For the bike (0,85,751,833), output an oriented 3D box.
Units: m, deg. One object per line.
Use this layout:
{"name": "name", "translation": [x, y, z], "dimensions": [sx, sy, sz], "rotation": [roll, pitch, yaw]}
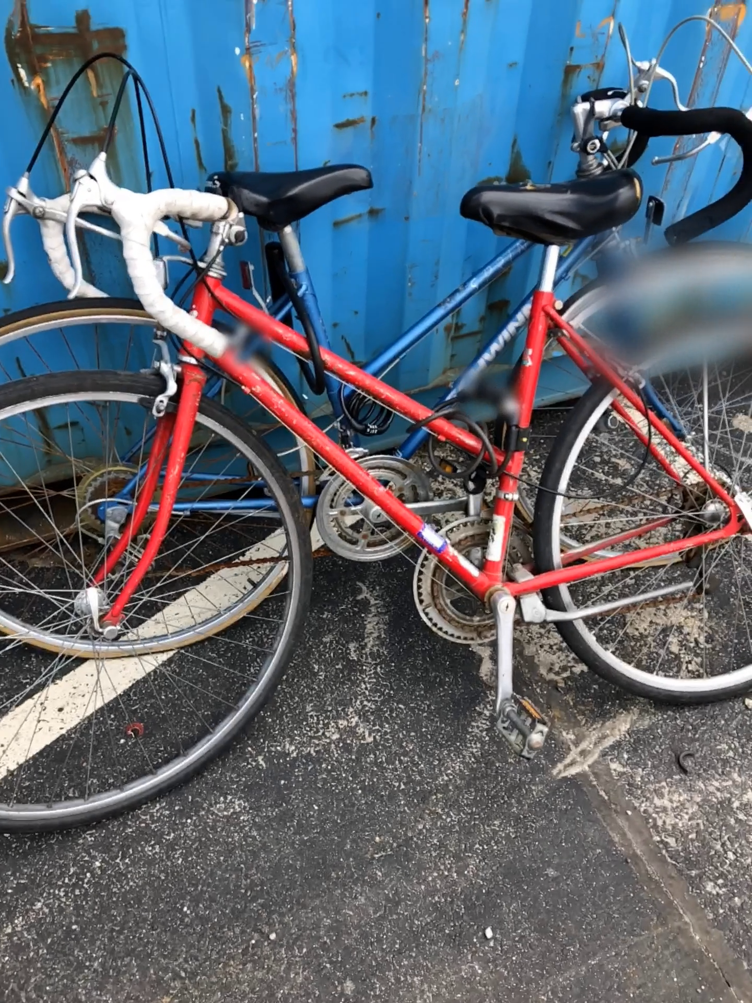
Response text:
{"name": "bike", "translation": [0.070, -0.123, 1.271], "dimensions": [1.641, 0.824, 0.485], "rotation": [-10, 46, -16]}
